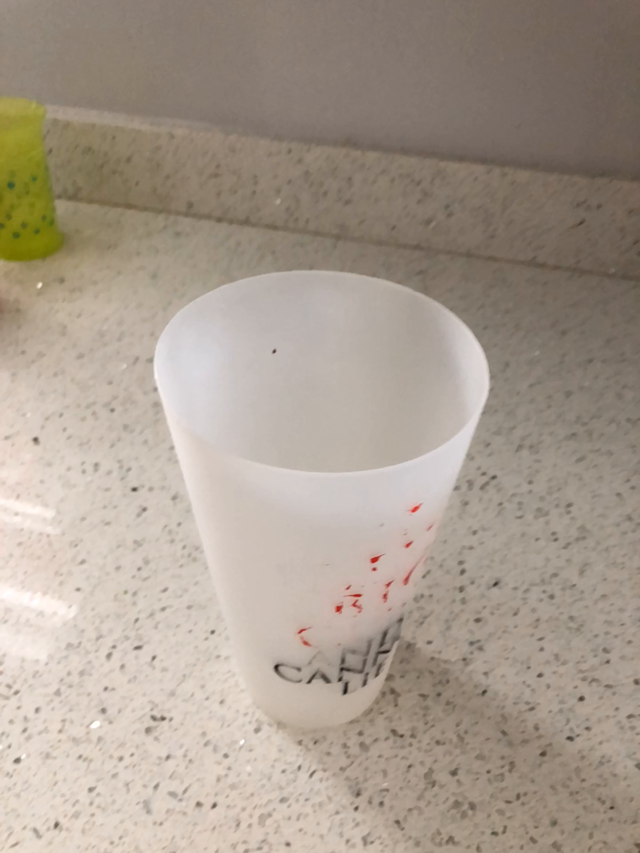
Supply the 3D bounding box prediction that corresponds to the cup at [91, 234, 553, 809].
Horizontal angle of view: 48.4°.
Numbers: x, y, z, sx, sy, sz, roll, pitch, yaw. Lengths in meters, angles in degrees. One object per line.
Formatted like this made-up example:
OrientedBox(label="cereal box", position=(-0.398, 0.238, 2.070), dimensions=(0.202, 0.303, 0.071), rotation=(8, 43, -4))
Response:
OrientedBox(label="cup", position=(-0.002, 0.037, 0.260), dimensions=(0.096, 0.166, 0.094), rotation=(0, 42, 0))
